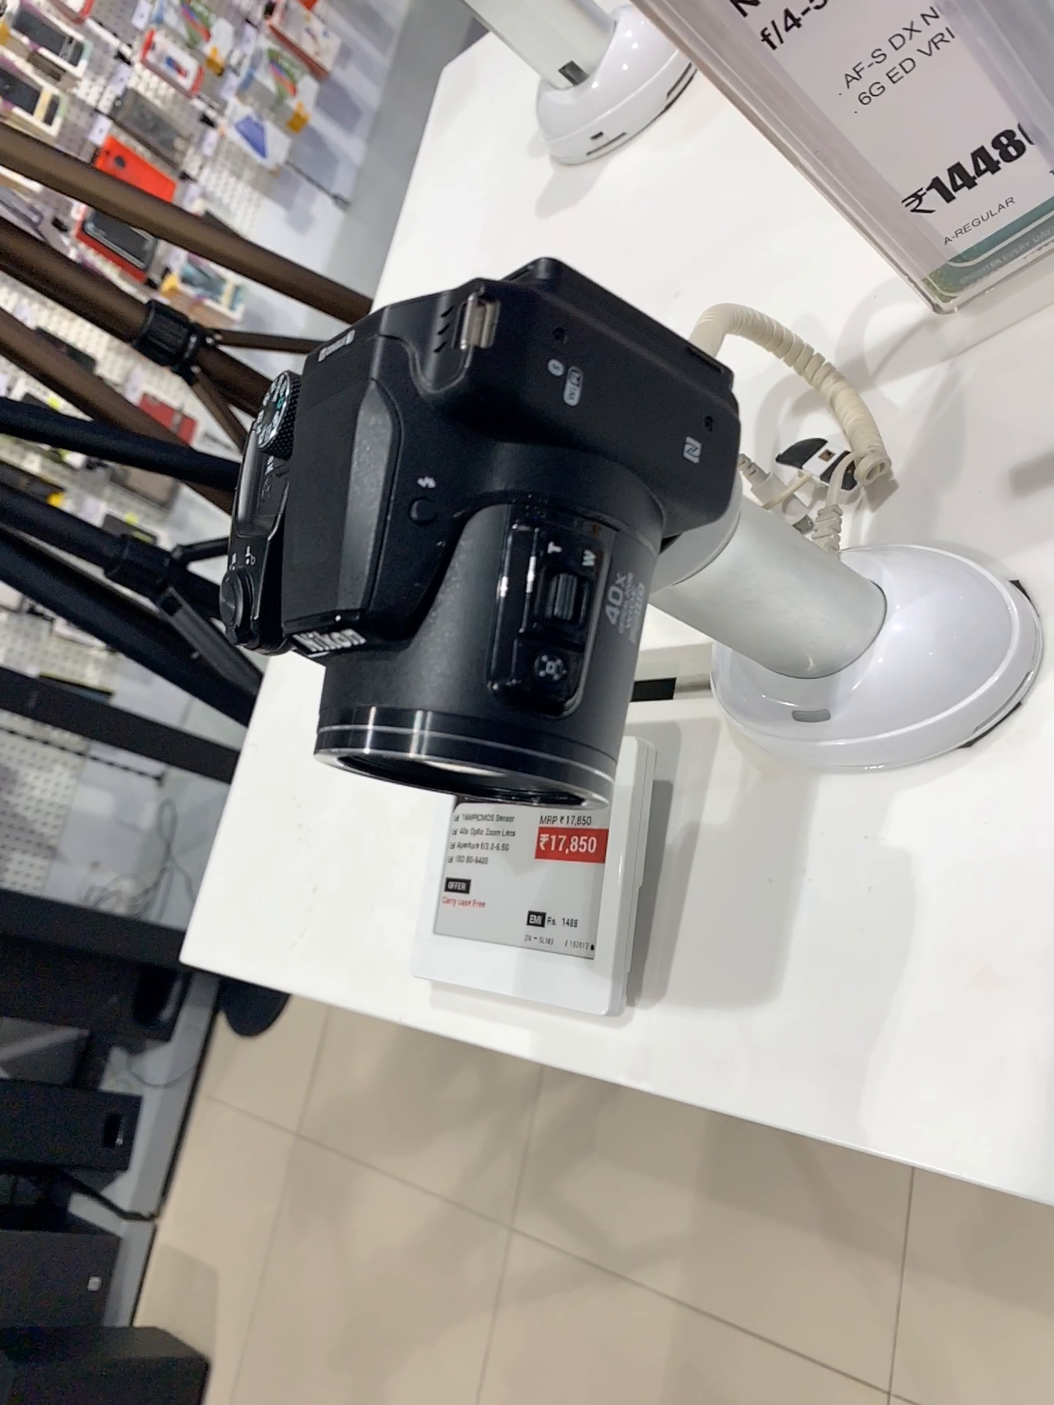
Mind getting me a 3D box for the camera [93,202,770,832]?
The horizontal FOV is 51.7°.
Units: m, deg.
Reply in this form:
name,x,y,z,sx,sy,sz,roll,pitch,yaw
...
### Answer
name,x,y,z,sx,sy,sz,roll,pitch,yaw
camera,-0.023,-0.023,0.218,0.113,0.070,0.083,-4,73,48
